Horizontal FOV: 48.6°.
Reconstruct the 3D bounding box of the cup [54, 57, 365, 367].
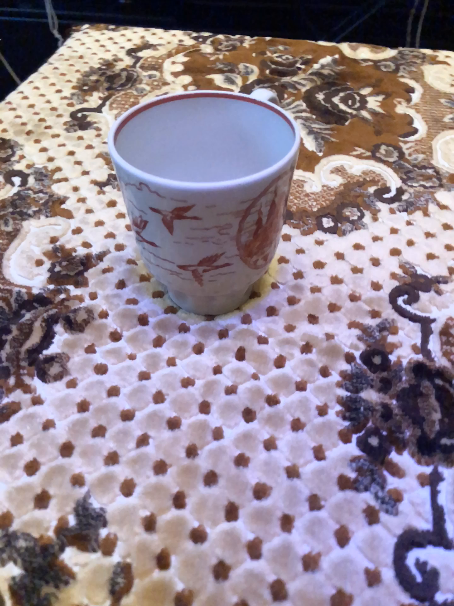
[{"bbox_3d":[-0.001,-0.058,0.275,0.100,0.090,0.130,20,50,20],"label":"cup"}]
